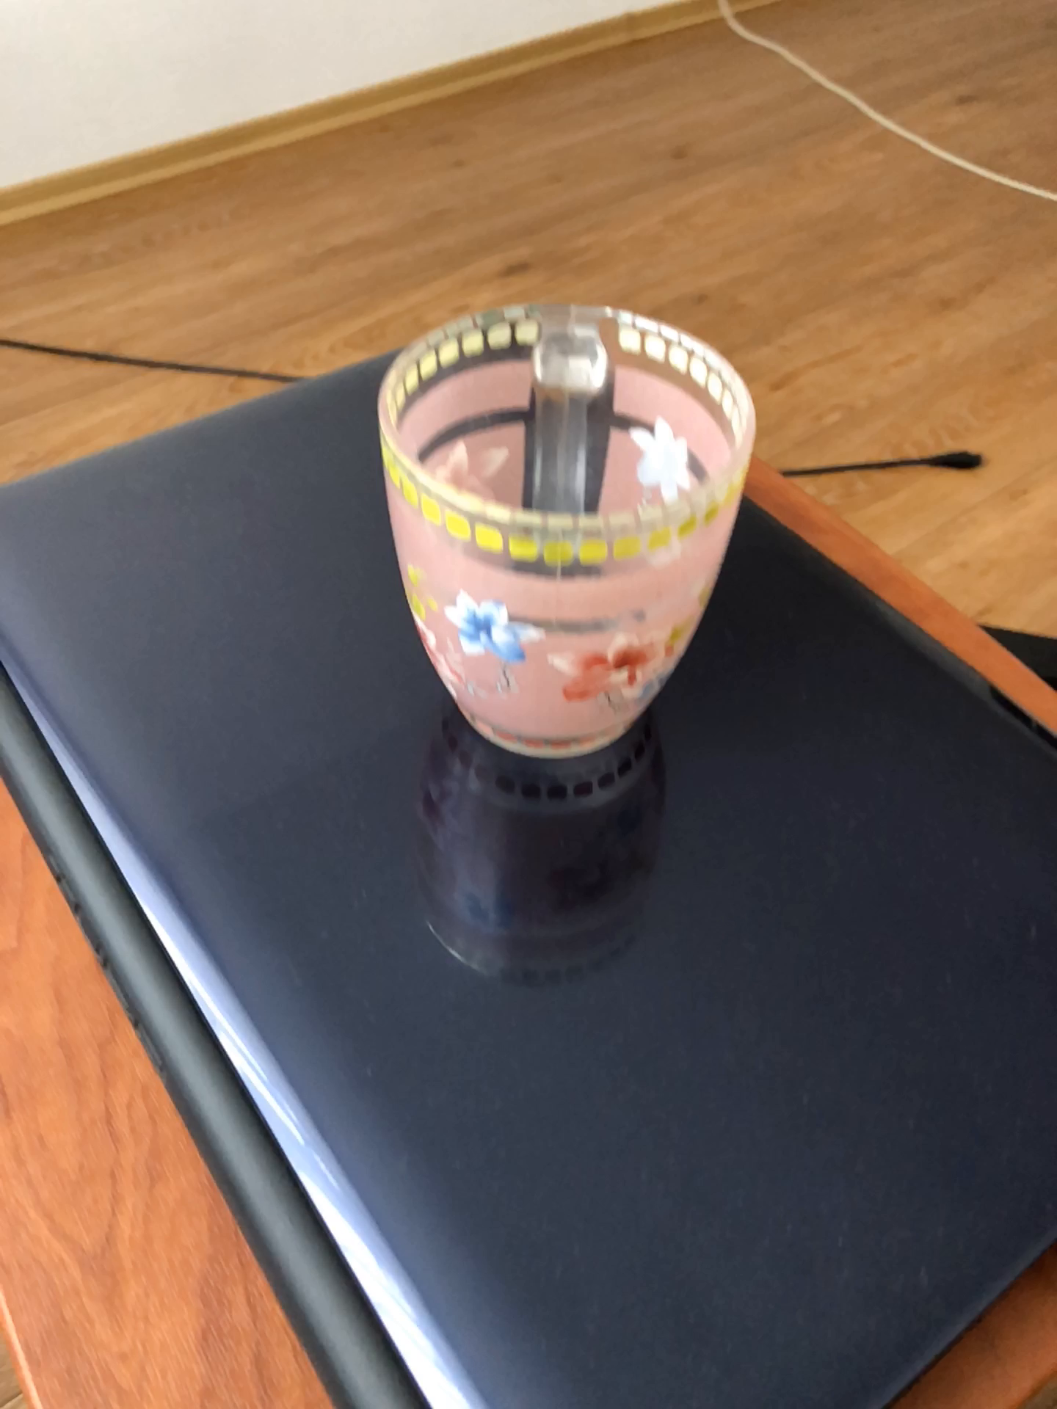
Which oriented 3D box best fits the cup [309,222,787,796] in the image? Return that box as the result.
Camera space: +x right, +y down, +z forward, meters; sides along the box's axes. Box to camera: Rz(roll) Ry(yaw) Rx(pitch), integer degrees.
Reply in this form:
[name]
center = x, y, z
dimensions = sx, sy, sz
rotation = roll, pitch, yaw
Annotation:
[cup]
center = 0.006, -0.054, 0.305
dimensions = 0.095, 0.081, 0.131
rotation = 2, 48, 1
